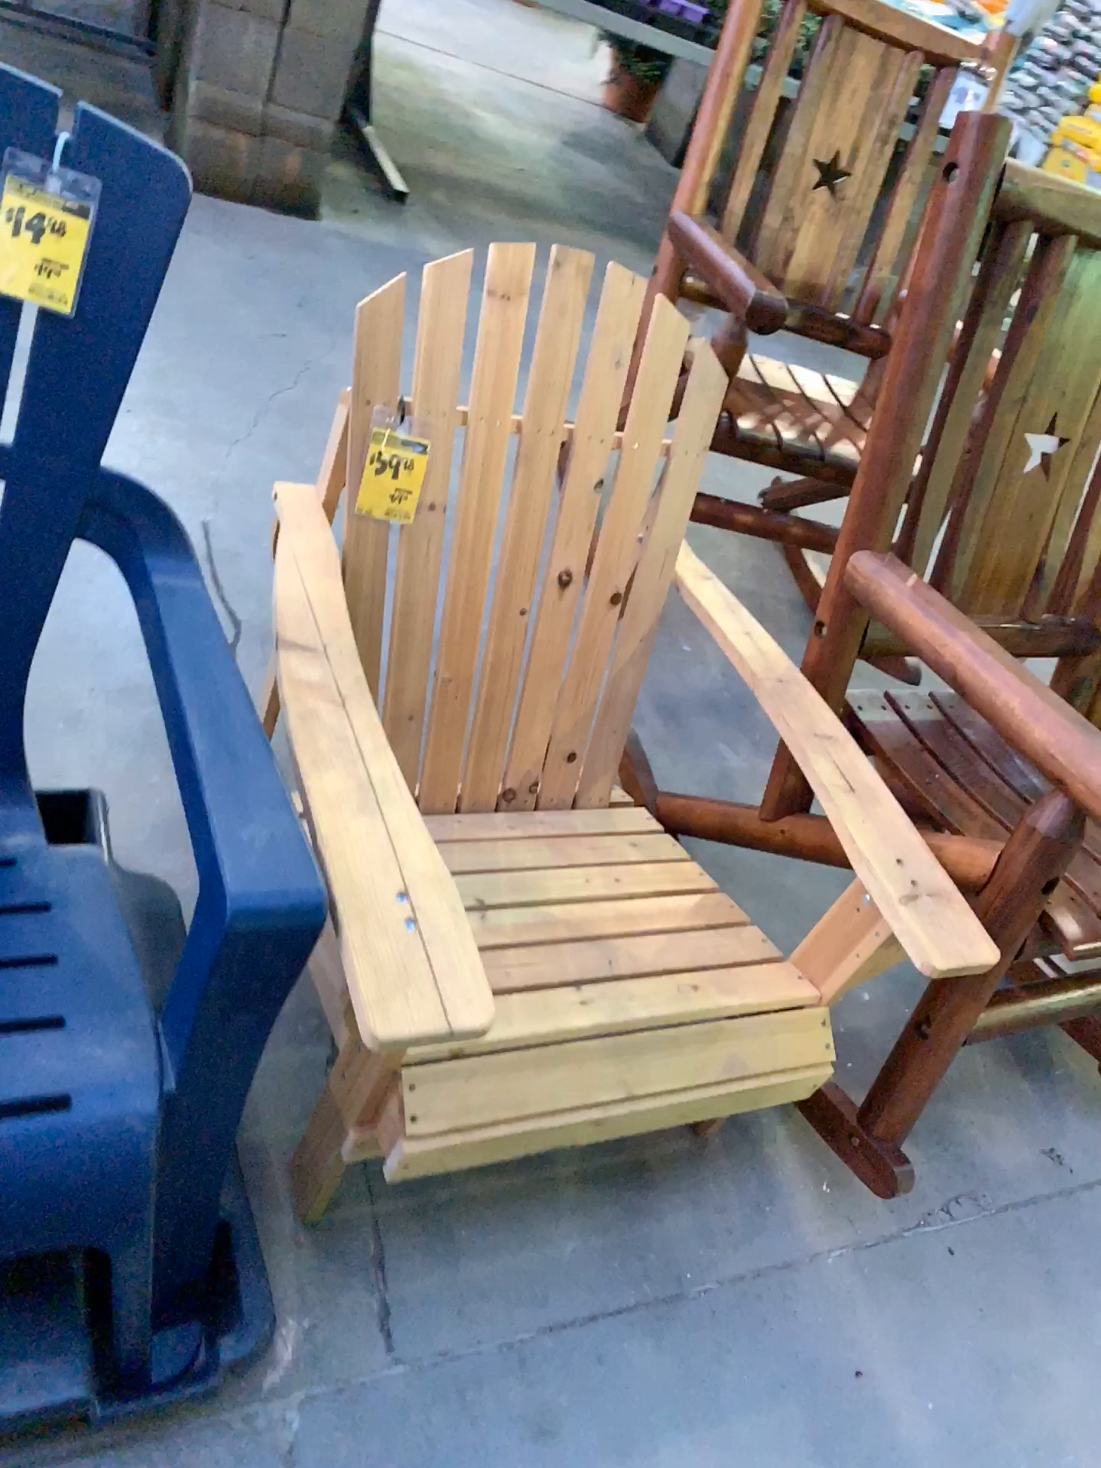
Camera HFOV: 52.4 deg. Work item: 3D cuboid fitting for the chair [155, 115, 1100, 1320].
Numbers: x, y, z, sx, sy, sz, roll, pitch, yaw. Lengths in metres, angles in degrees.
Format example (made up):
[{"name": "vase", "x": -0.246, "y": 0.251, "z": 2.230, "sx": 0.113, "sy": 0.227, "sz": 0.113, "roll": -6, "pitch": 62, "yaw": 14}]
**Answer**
[{"name": "chair", "x": 0.017, "y": -0.009, "z": 1.350, "sx": 0.729, "sy": 0.886, "sz": 0.893, "roll": 0, "pitch": 47, "yaw": -29}]
